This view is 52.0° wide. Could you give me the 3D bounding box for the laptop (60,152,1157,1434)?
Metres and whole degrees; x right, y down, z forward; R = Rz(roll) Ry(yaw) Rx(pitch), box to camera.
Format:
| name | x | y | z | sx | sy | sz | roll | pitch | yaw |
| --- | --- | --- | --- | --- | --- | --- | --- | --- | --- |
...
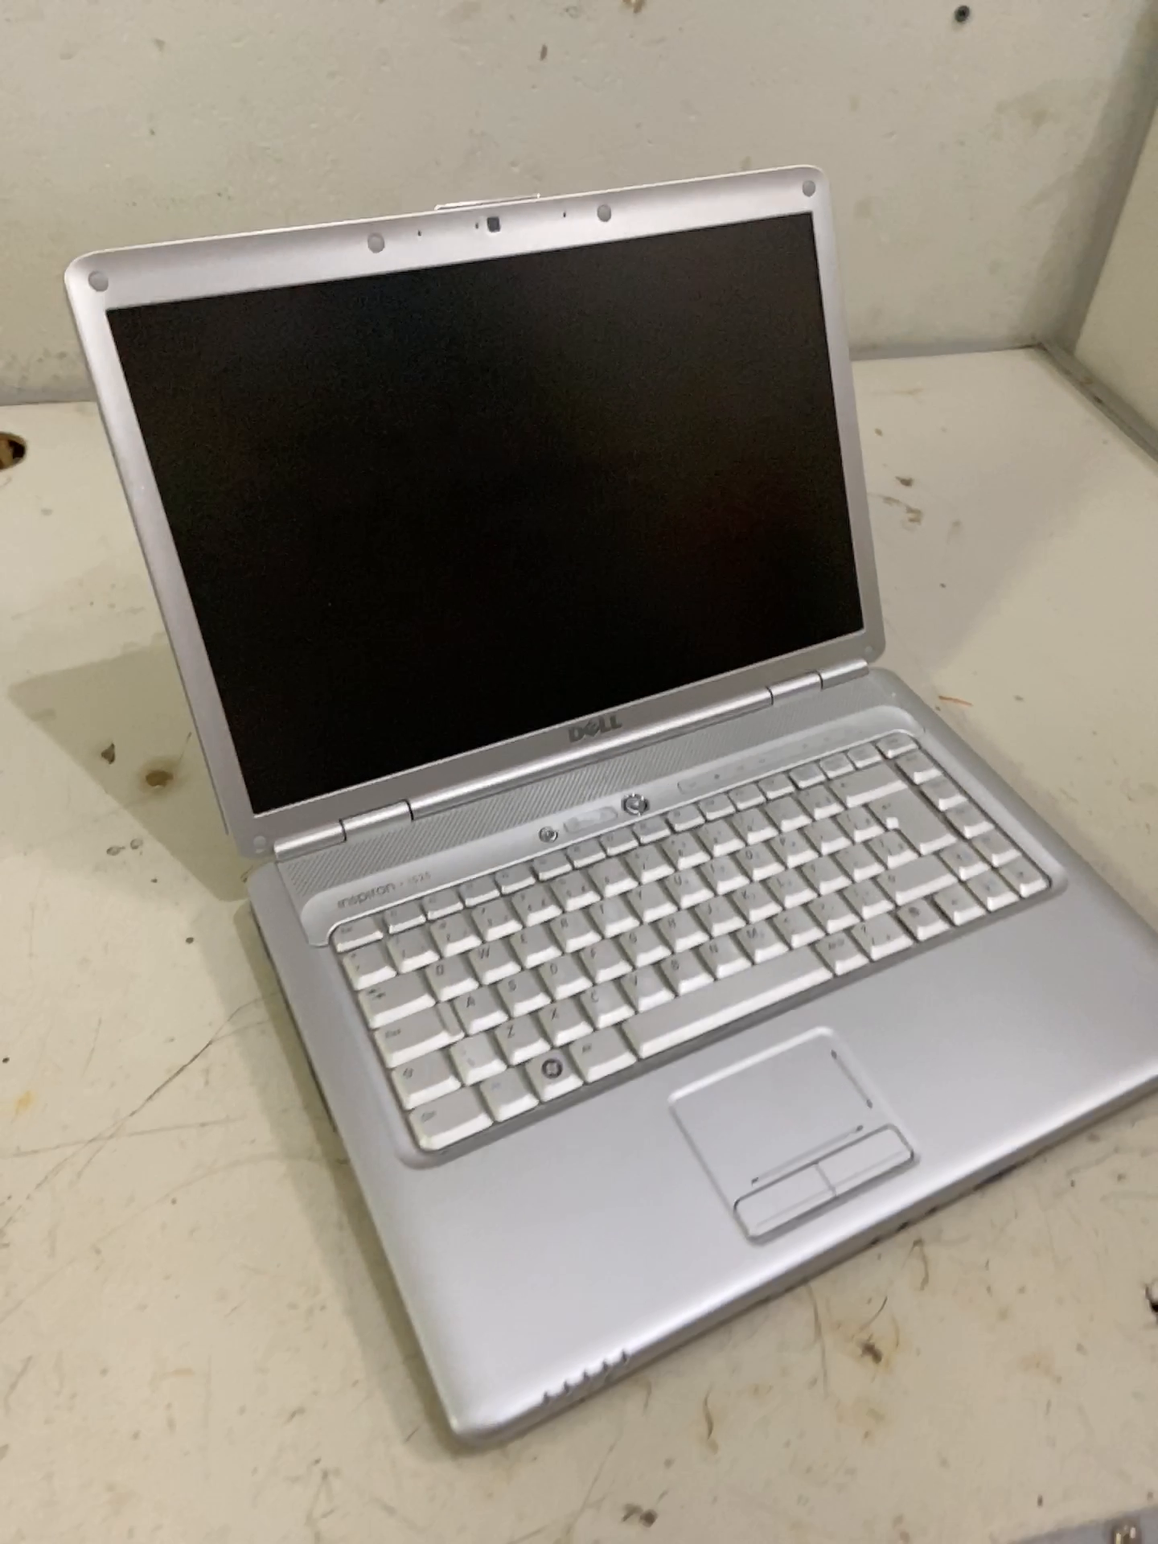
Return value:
| name | x | y | z | sx | sy | sz | roll | pitch | yaw |
| --- | --- | --- | --- | --- | --- | --- | --- | --- | --- |
| laptop | 0.039 | -0.048 | 0.470 | 0.349 | 0.208 | 0.379 | -18 | 50 | -22 |
